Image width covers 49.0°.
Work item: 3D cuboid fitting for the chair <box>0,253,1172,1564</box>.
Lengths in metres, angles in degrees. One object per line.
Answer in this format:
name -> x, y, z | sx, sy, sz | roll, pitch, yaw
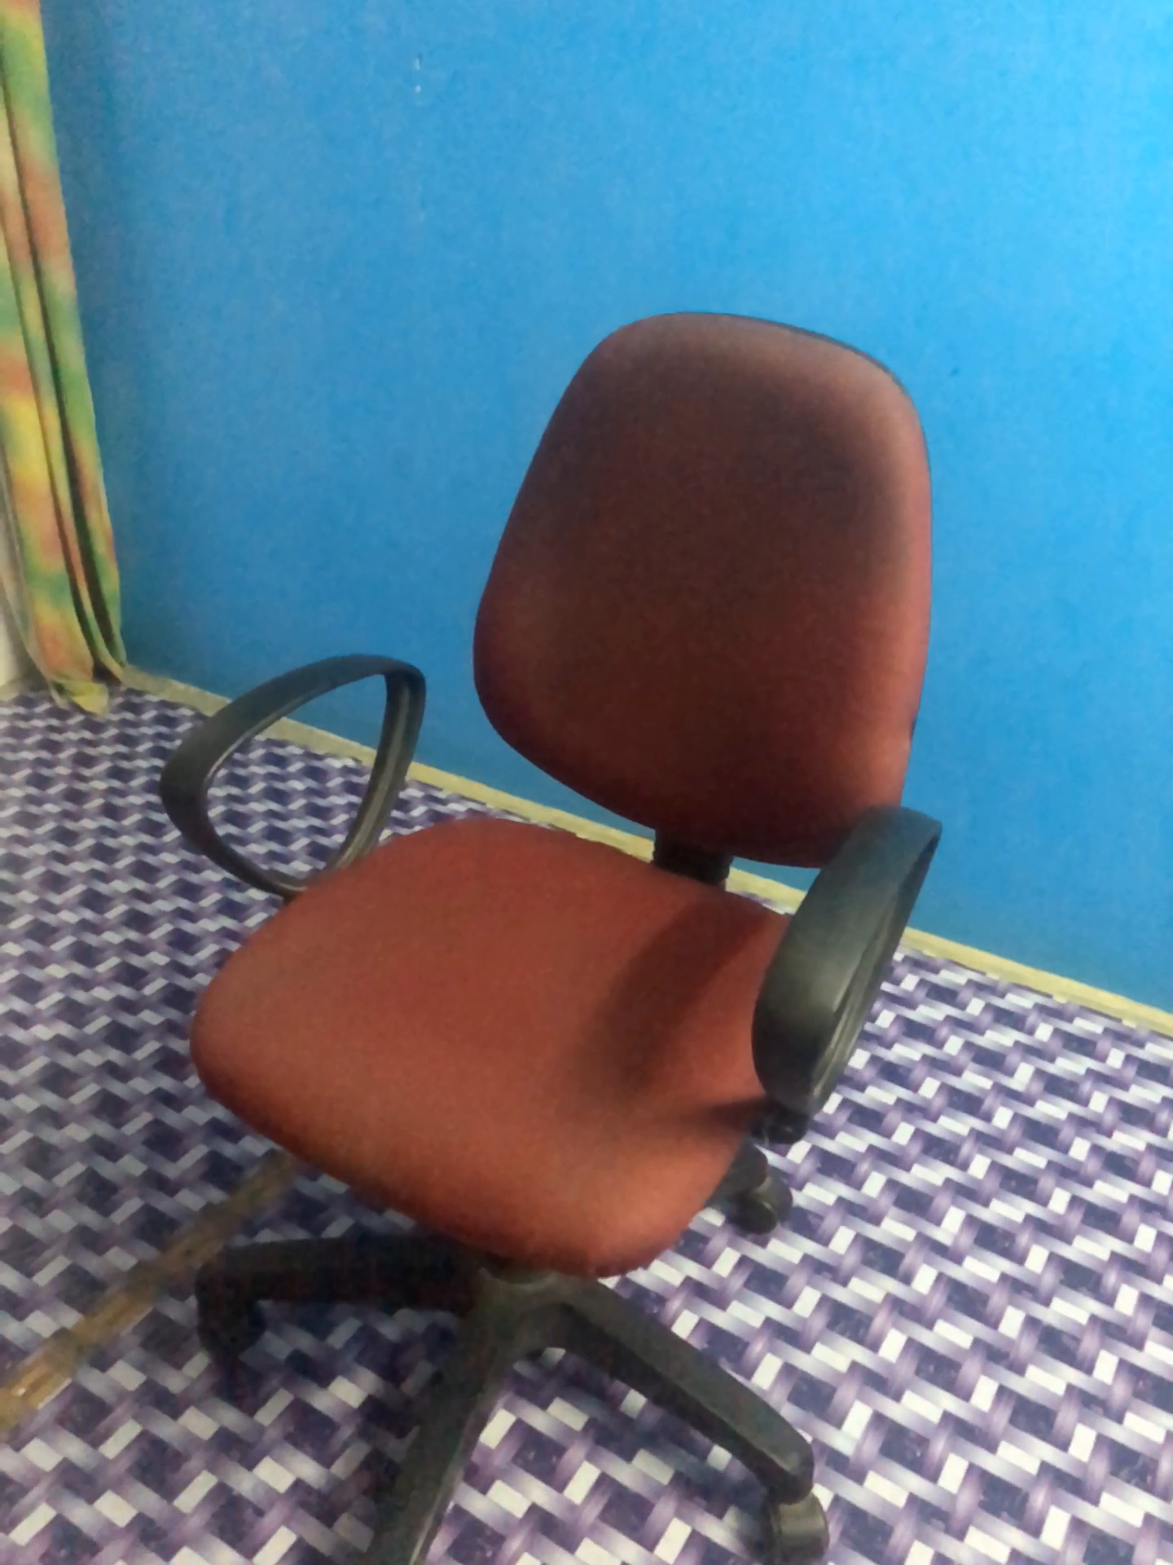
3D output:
chair -> -0.047, 0.116, 1.048 | 0.700, 0.895, 0.744 | 21, 34, 31
